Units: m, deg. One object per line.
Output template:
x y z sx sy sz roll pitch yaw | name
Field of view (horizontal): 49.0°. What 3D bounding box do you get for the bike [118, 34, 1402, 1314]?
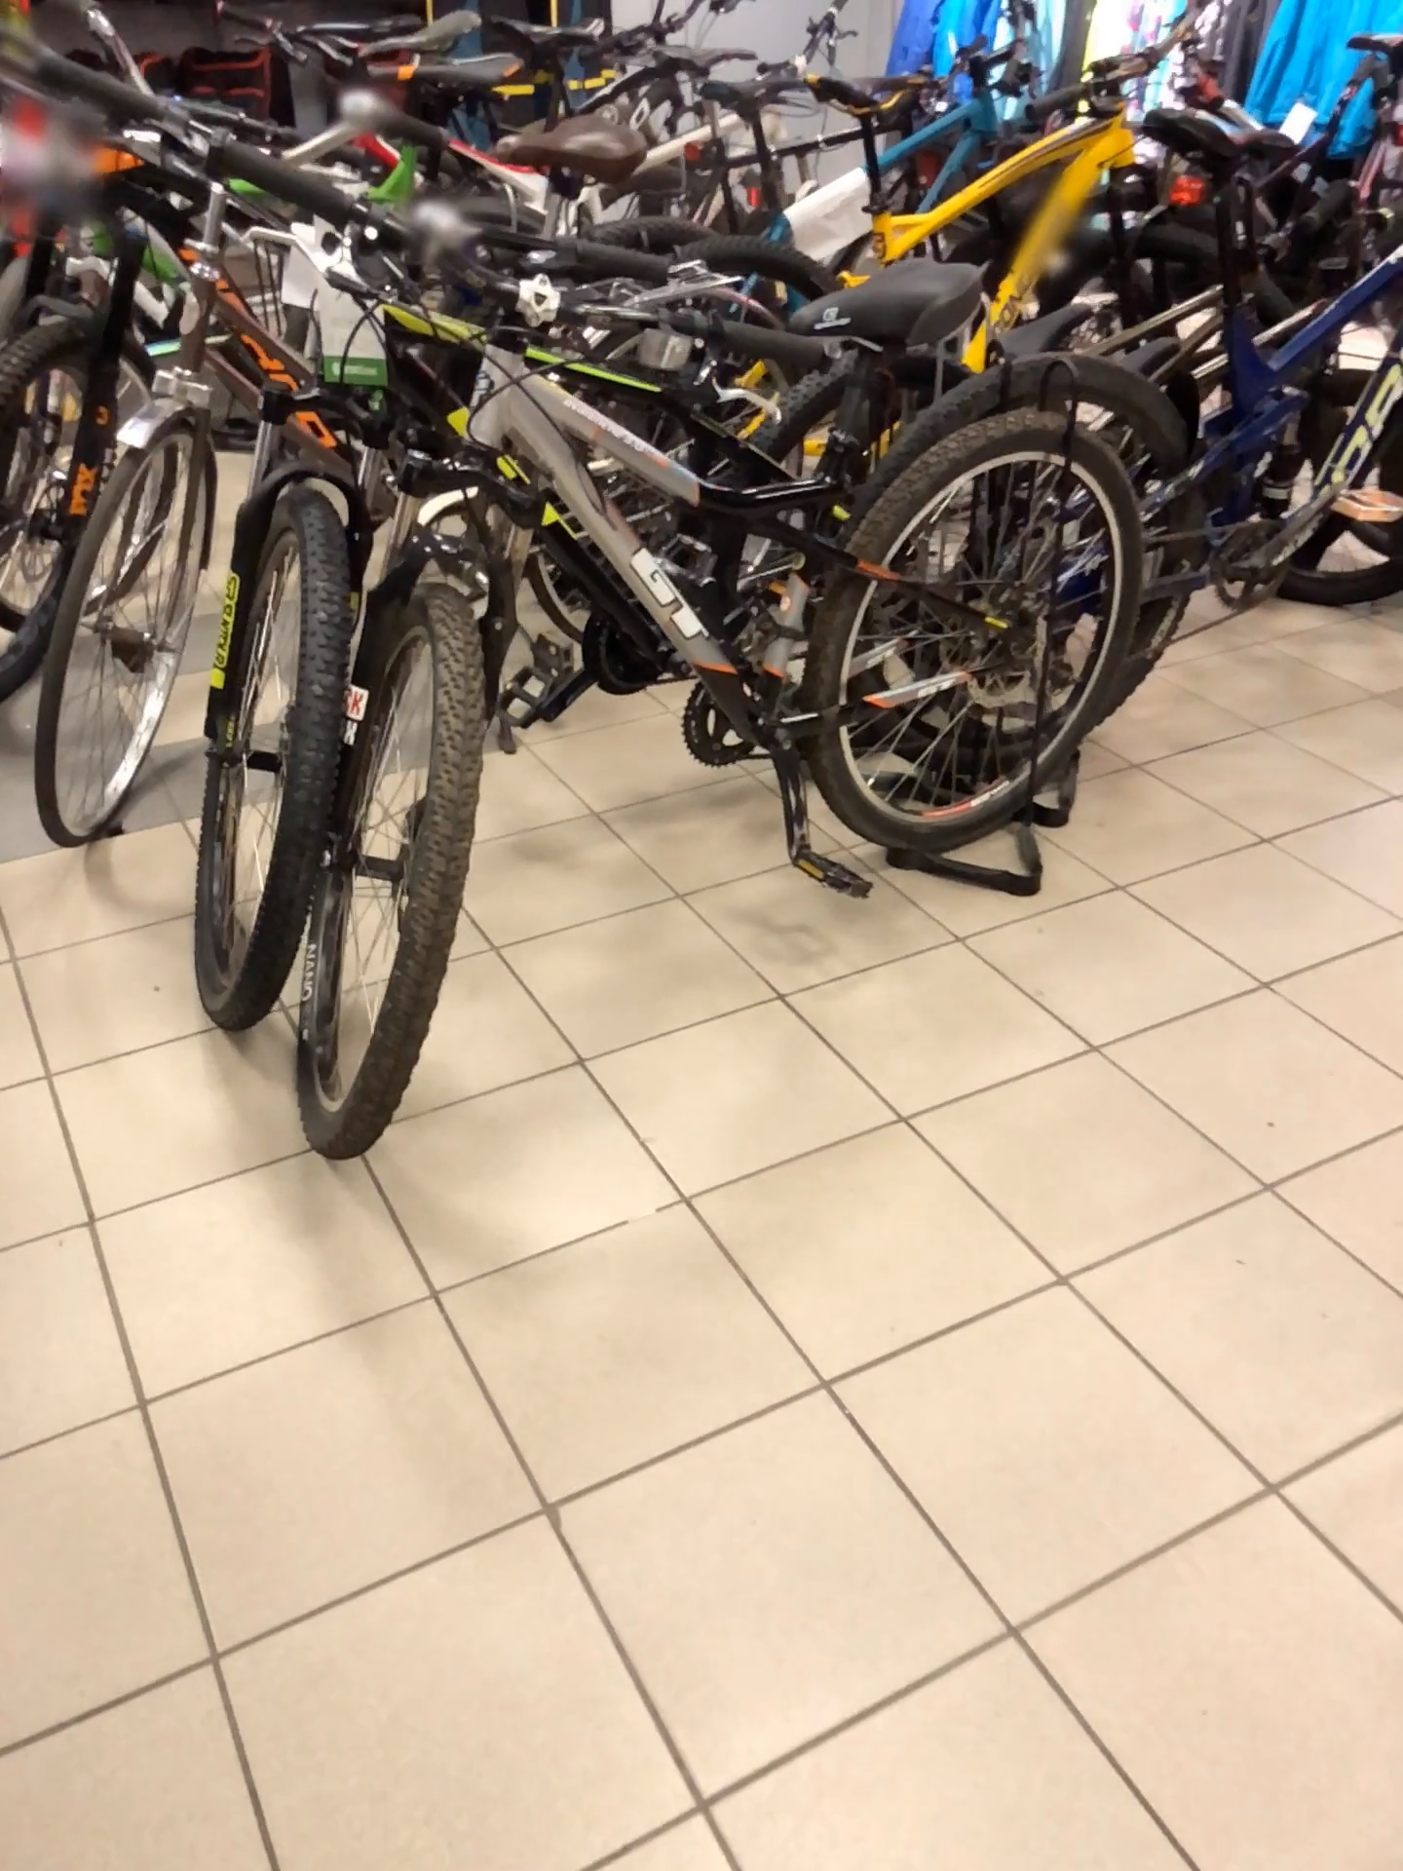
0.183 -0.458 1.846 0.626 1.012 1.429 25 37 34 | bike
